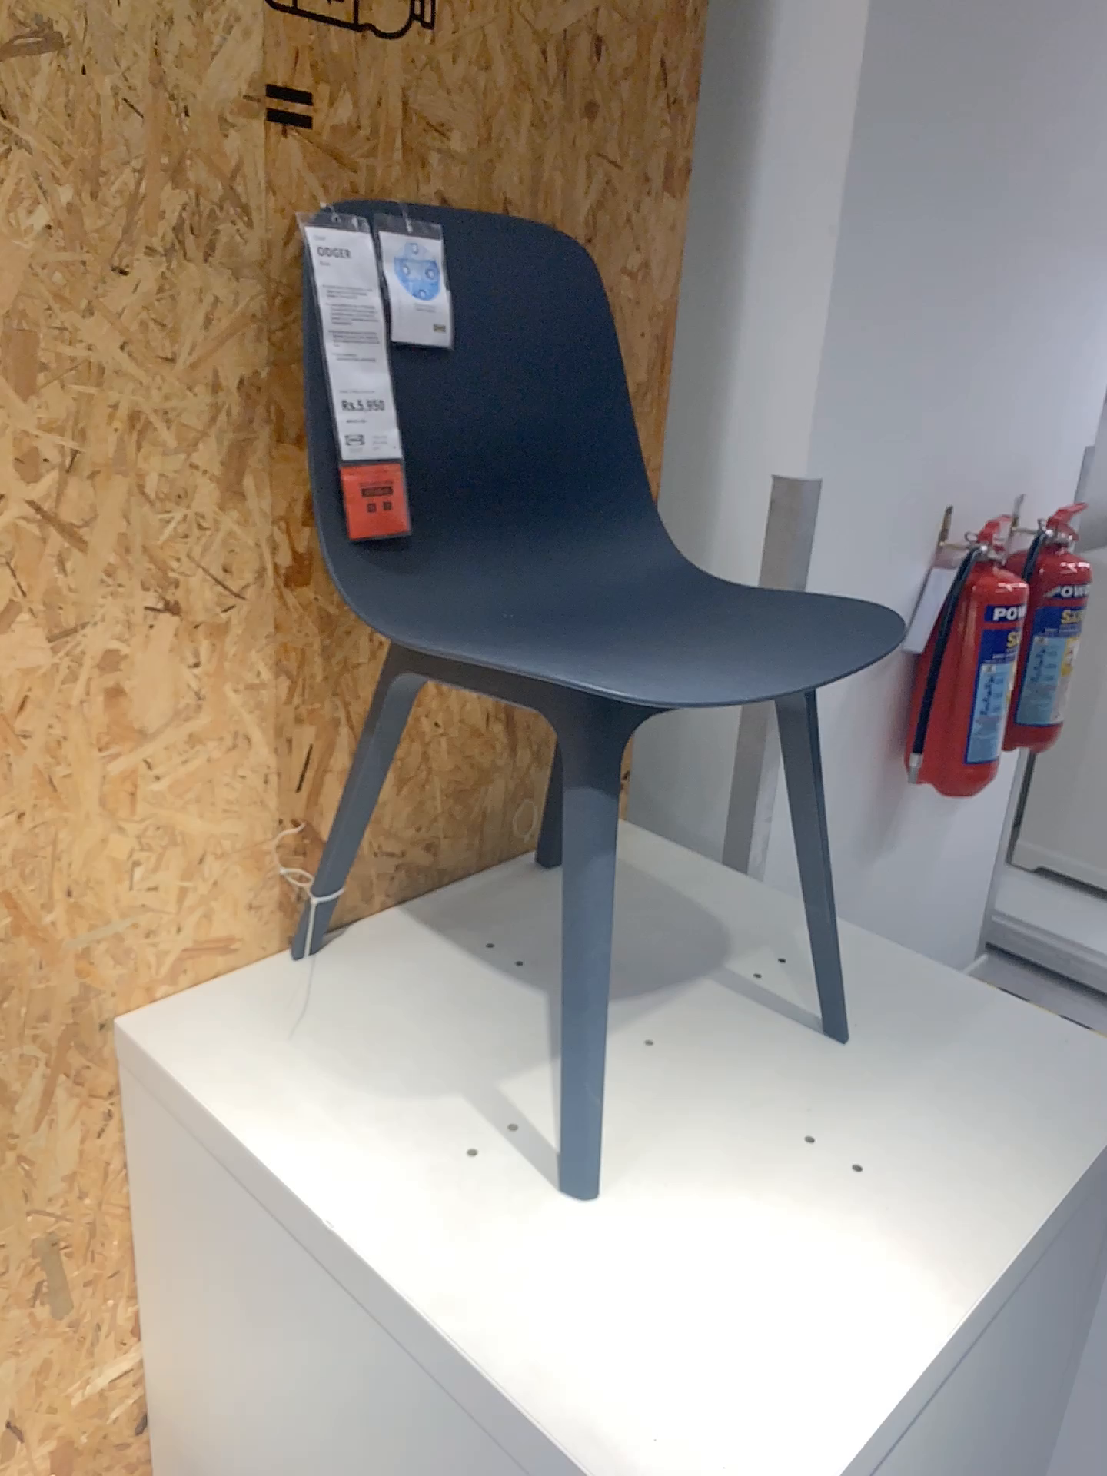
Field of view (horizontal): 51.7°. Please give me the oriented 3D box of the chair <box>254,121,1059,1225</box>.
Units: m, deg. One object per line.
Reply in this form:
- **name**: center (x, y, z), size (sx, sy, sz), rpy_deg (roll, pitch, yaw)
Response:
- **chair**: center (0.049, -0.097, 1.067), size (0.431, 0.767, 0.501), rpy_deg (-14, 27, -40)
